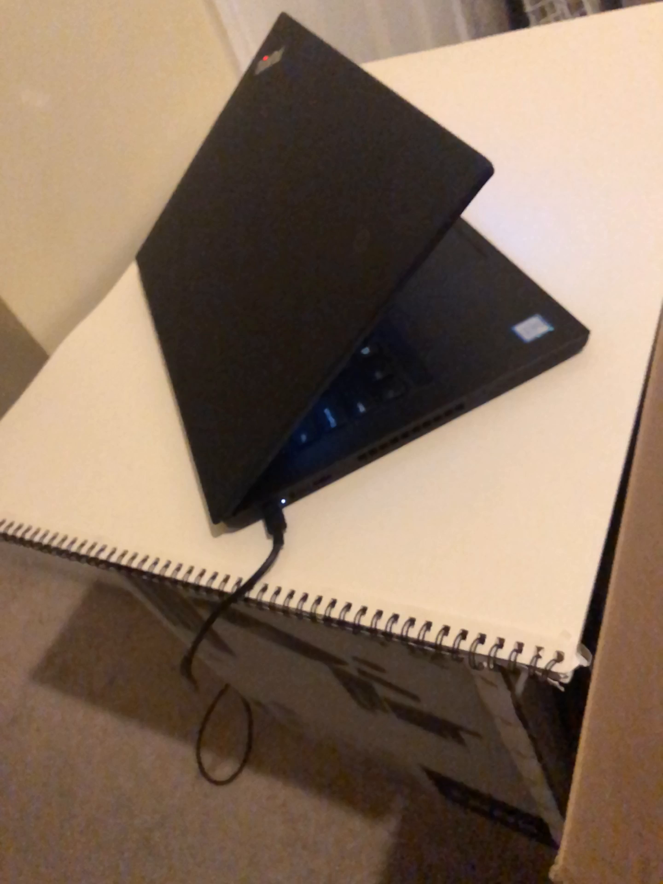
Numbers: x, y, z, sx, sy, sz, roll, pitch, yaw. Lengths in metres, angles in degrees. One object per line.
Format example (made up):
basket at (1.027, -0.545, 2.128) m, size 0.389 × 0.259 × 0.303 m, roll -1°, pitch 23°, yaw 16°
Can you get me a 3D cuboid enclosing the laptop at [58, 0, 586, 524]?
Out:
laptop at (-0.034, -0.143, 0.474) m, size 0.226 × 0.115 × 0.319 m, roll -27°, pitch 44°, yaw 0°
